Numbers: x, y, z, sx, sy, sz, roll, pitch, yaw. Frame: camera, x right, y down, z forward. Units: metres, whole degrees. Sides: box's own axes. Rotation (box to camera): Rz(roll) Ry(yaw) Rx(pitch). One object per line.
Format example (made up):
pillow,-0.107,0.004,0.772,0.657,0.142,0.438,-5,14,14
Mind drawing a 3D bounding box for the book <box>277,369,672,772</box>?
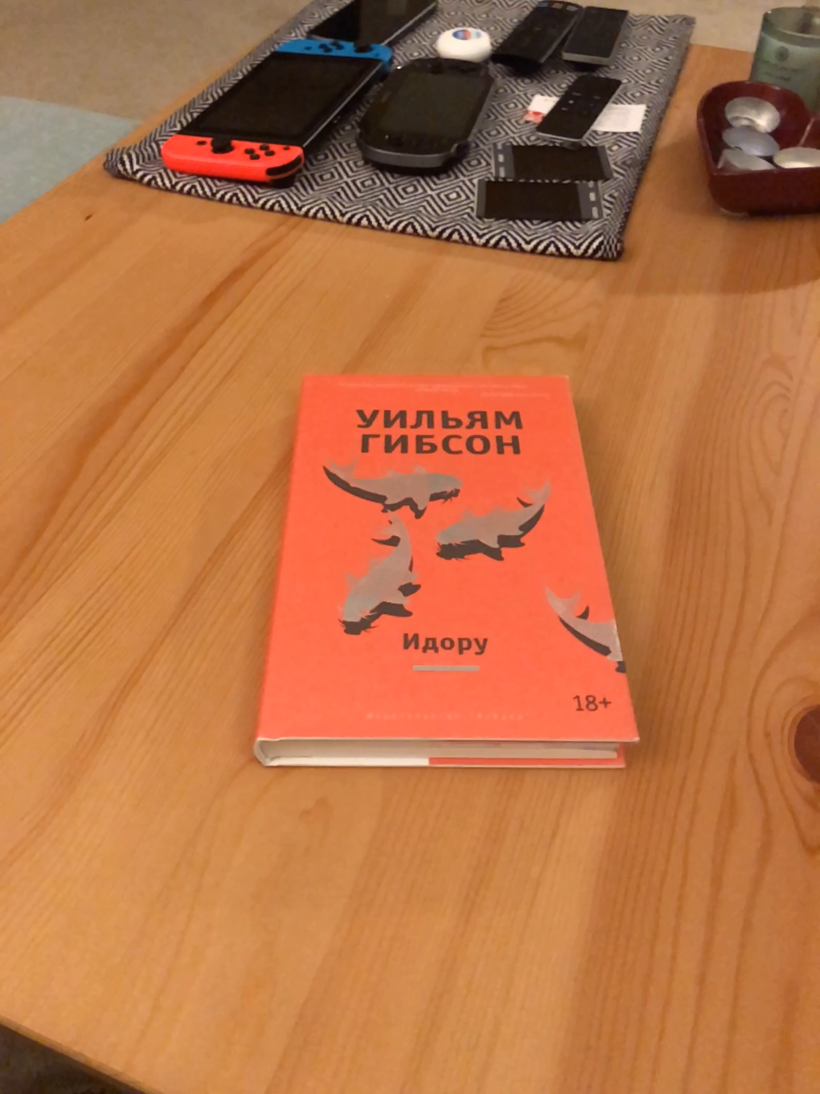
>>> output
book,0.021,-0.004,0.384,0.134,0.020,0.208,0,47,-1
